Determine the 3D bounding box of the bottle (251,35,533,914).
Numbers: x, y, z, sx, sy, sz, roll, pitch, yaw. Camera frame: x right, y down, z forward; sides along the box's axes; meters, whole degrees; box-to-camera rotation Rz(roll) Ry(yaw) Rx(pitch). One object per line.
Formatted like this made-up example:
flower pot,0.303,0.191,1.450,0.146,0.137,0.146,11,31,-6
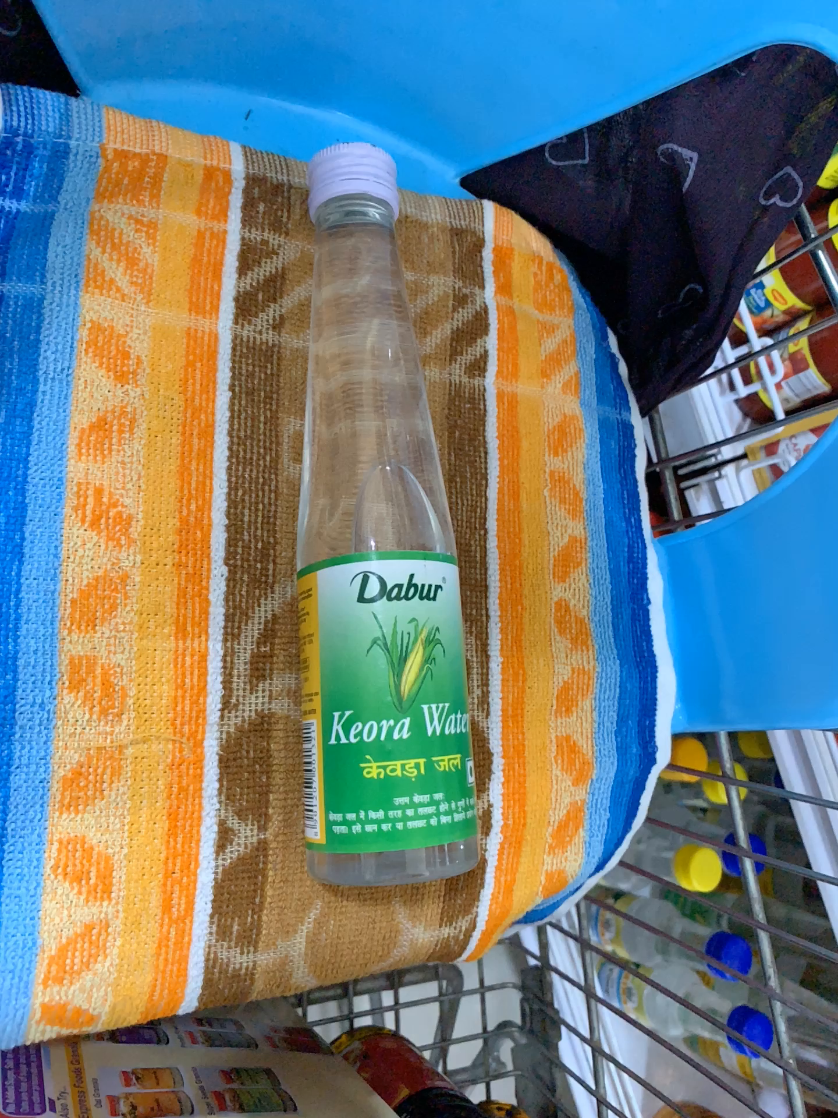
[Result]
bottle,-0.011,-0.021,0.227,0.050,0.050,0.200,0,84,-24
